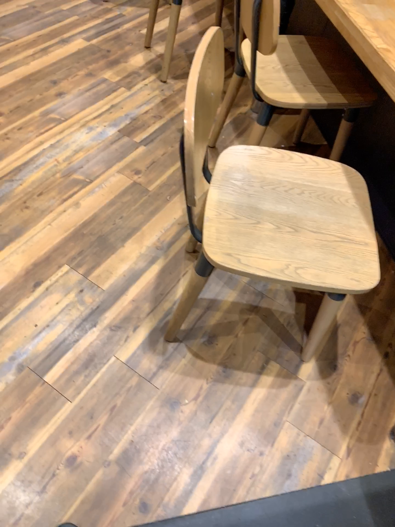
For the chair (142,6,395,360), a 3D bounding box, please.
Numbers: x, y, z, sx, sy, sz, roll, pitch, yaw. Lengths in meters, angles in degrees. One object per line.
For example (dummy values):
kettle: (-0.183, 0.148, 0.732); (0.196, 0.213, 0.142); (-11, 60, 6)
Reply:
chair: (0.159, -0.136, 0.991); (0.500, 0.684, 0.414); (9, 52, 0)
